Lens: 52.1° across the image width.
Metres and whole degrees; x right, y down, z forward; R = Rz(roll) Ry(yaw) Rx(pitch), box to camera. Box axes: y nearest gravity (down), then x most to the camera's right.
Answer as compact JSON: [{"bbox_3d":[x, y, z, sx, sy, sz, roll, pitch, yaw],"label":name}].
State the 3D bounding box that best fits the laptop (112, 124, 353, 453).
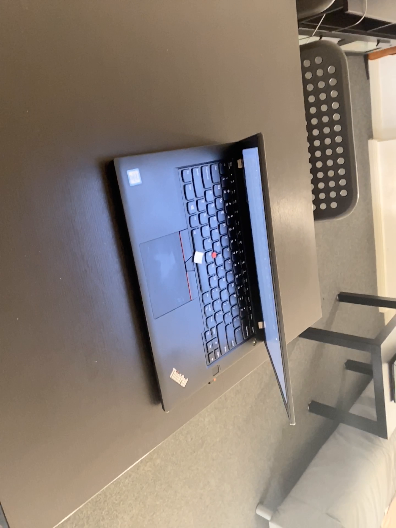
[{"bbox_3d":[0.060,0.010,0.484,0.217,0.138,0.299,-25,111,-42],"label":"laptop"}]
